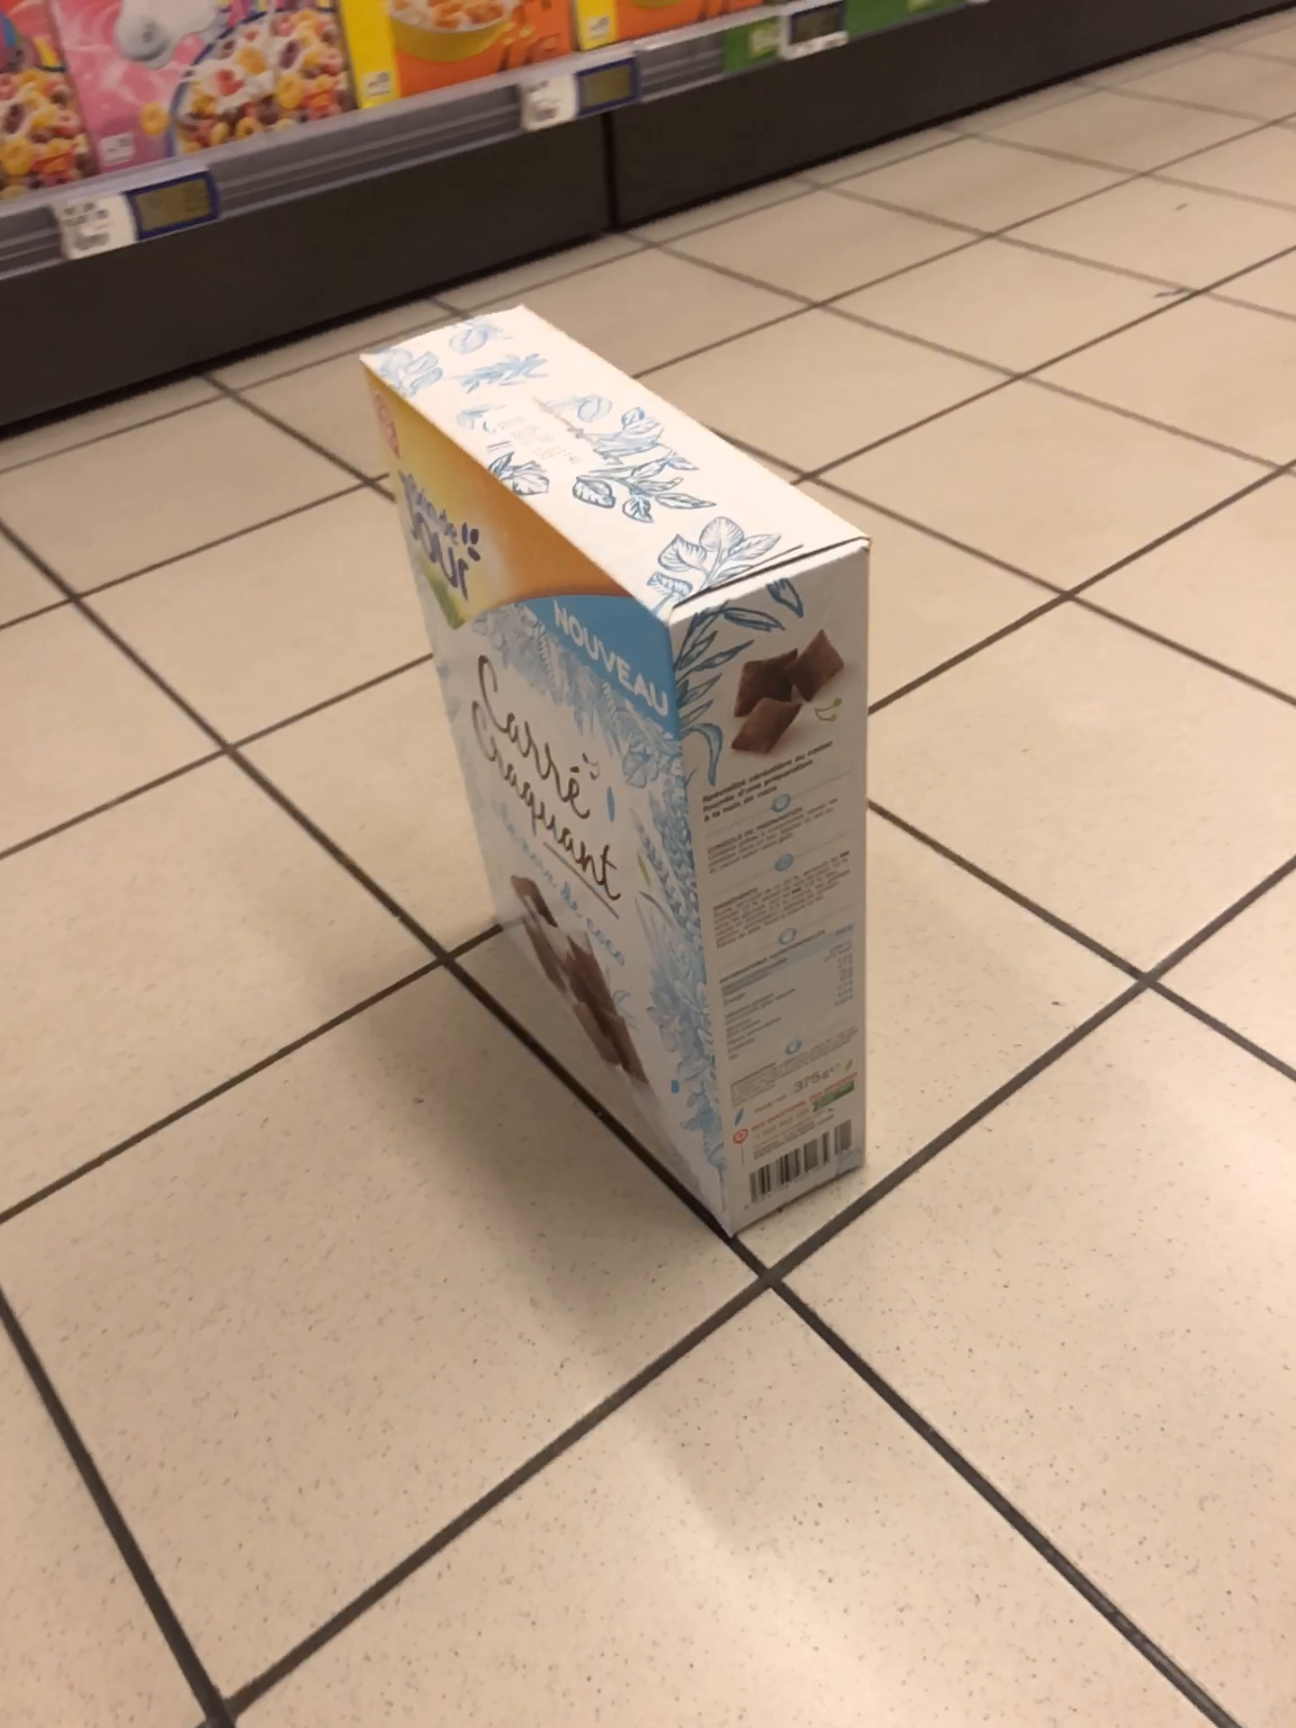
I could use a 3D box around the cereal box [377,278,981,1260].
[{"bbox_3d":[0.004,-0.030,0.459,0.070,0.239,0.201,-23,45,-19],"label":"cereal box"}]
